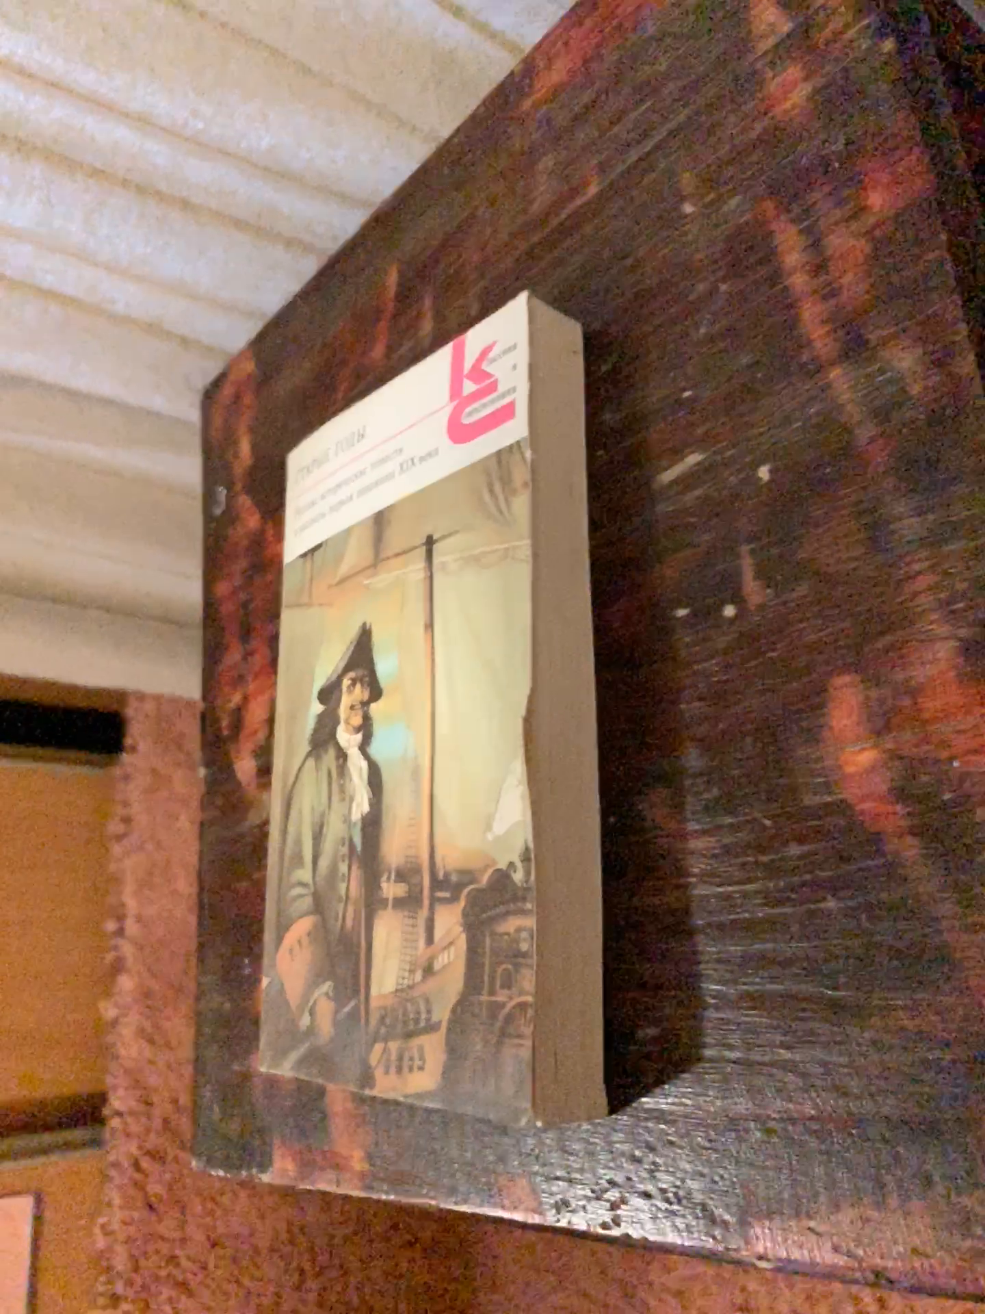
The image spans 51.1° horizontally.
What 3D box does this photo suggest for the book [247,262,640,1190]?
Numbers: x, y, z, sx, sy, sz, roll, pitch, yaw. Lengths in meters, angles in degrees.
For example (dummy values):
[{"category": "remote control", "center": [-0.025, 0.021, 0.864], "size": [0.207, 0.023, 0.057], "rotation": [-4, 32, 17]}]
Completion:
[{"category": "book", "center": [-0.019, 0.017, 0.272], "size": [0.124, 0.026, 0.197], "rotation": [-15, 70, 49]}]
